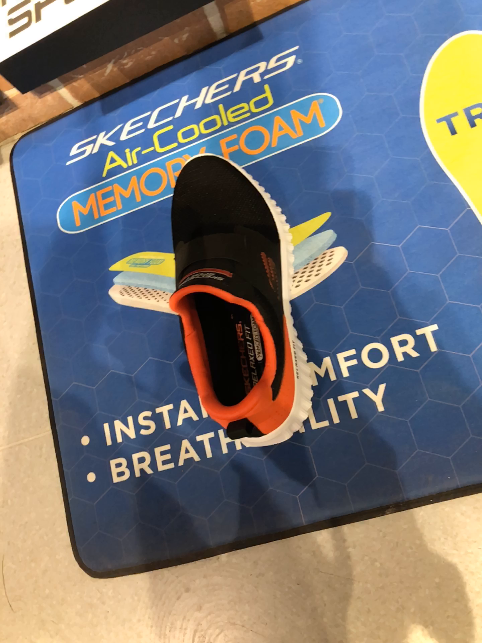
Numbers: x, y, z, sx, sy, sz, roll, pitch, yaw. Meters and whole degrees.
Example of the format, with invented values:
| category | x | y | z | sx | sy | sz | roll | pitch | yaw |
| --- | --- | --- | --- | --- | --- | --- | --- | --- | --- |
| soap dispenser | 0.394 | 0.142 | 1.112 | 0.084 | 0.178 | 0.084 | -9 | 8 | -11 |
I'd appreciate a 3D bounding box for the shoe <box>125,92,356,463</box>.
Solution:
| category | x | y | z | sx | sy | sz | roll | pitch | yaw |
| --- | --- | --- | --- | --- | --- | --- | --- | --- | --- |
| shoe | 0.002 | -0.029 | 0.475 | 0.116 | 0.136 | 0.276 | -16 | 74 | 14 |
